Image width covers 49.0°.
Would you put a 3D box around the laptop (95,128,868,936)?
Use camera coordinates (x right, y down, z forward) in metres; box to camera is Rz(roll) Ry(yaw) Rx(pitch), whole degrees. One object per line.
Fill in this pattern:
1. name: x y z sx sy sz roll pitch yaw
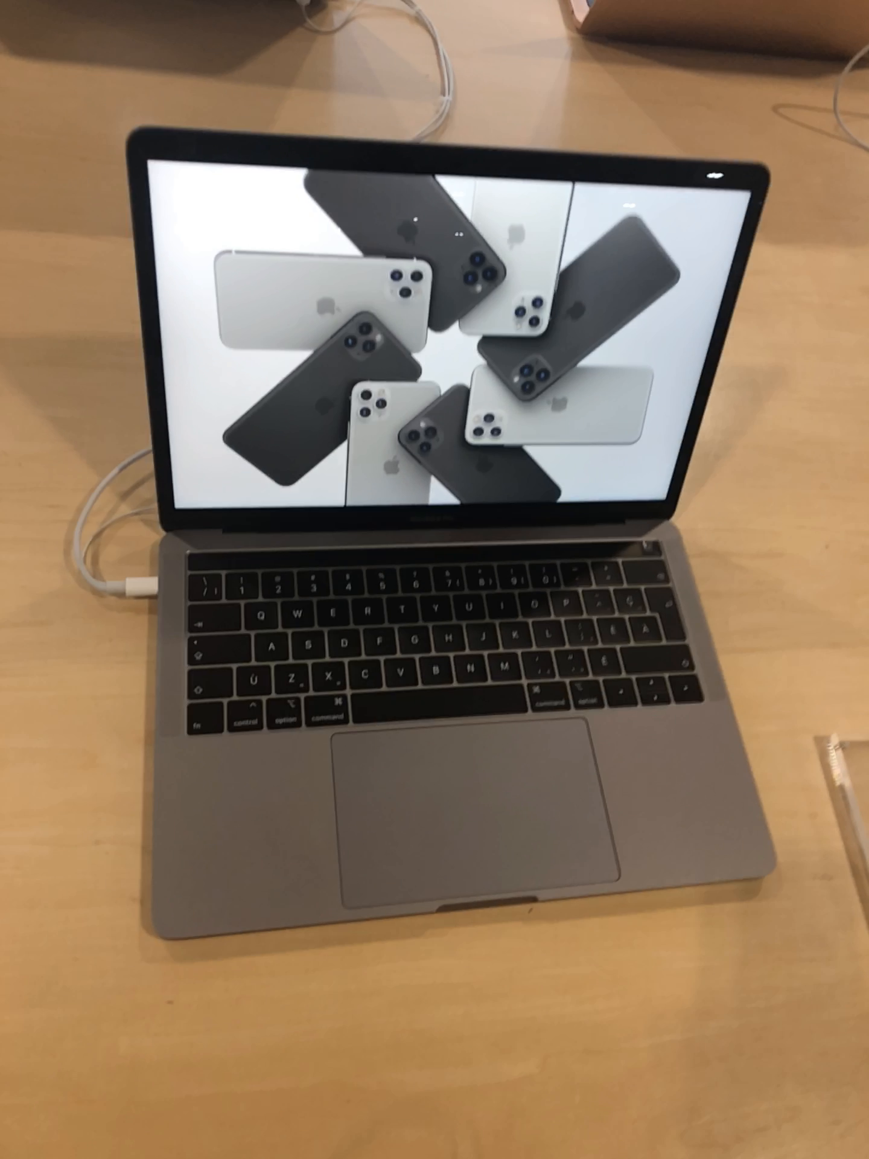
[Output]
1. laptop: 0.017 -0.021 0.439 0.296 0.181 0.296 -2 60 -13
